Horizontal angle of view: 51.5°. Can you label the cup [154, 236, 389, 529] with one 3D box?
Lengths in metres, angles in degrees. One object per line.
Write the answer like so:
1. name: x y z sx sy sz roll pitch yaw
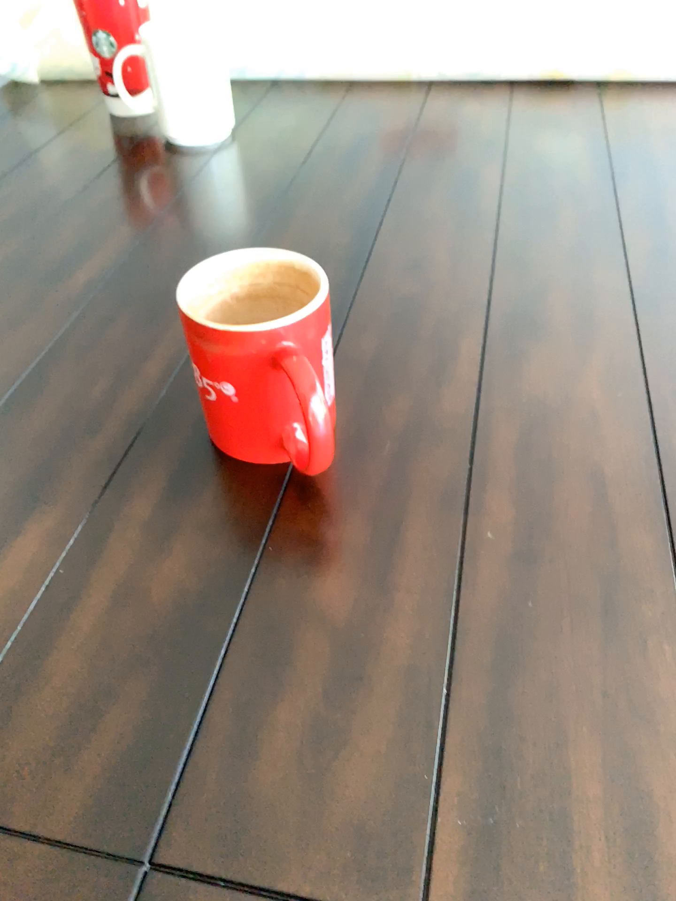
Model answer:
1. cup: -0.039 -0.044 0.401 0.090 0.090 0.131 -16 45 -14
